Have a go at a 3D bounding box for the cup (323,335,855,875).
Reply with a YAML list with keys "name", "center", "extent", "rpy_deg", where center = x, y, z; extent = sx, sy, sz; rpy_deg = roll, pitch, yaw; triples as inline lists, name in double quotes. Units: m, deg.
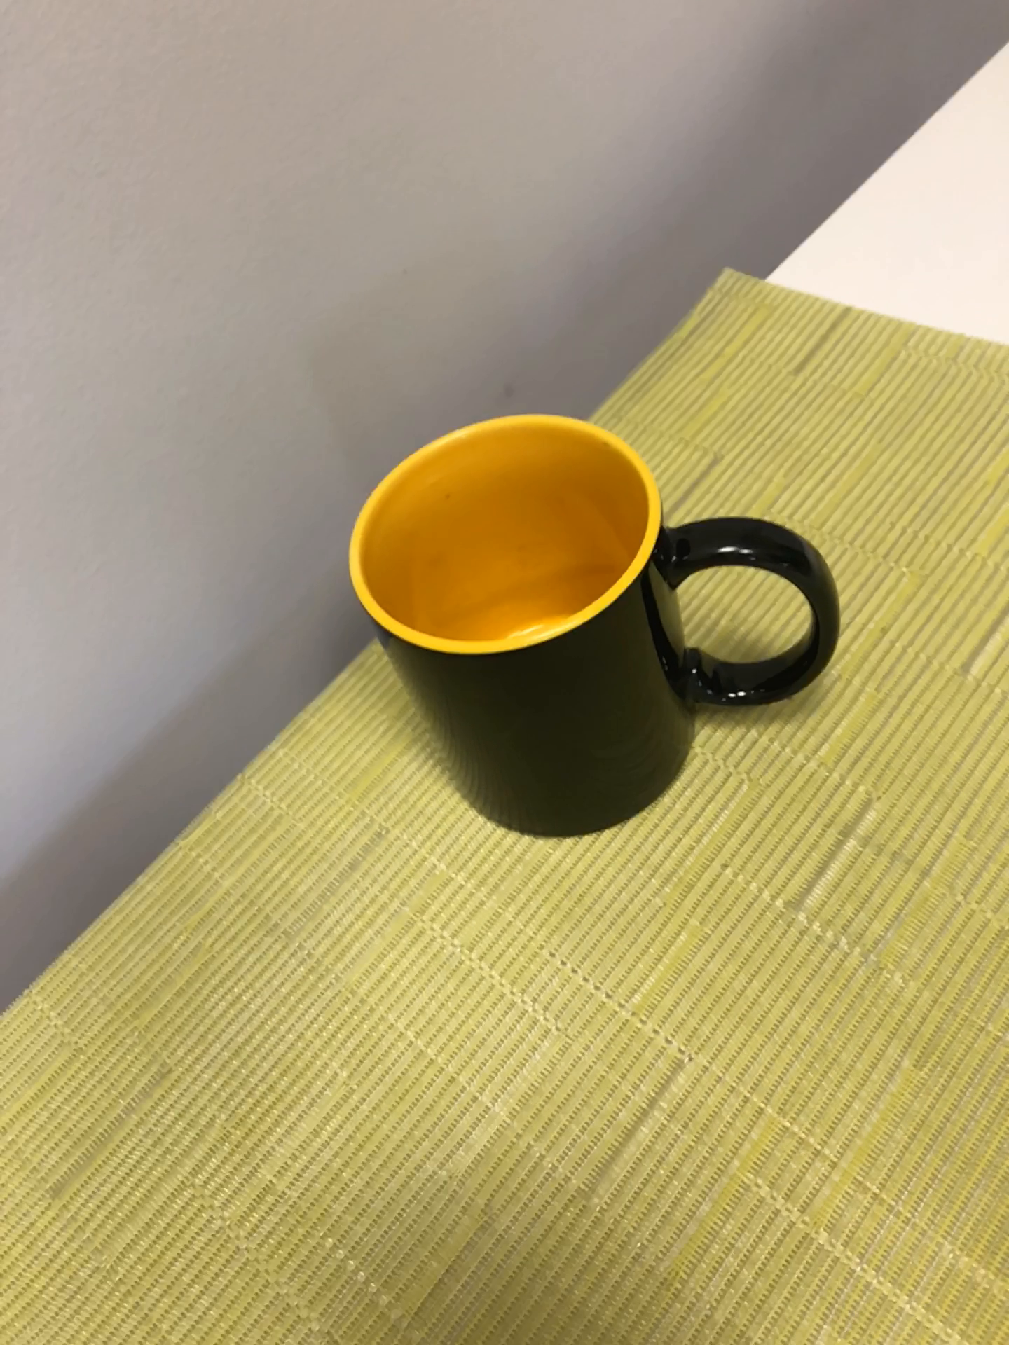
- name: "cup"
  center: [0.027, -0.013, 0.316]
  extent: [0.119, 0.104, 0.089]
  rpy_deg: [-9, 52, 10]
